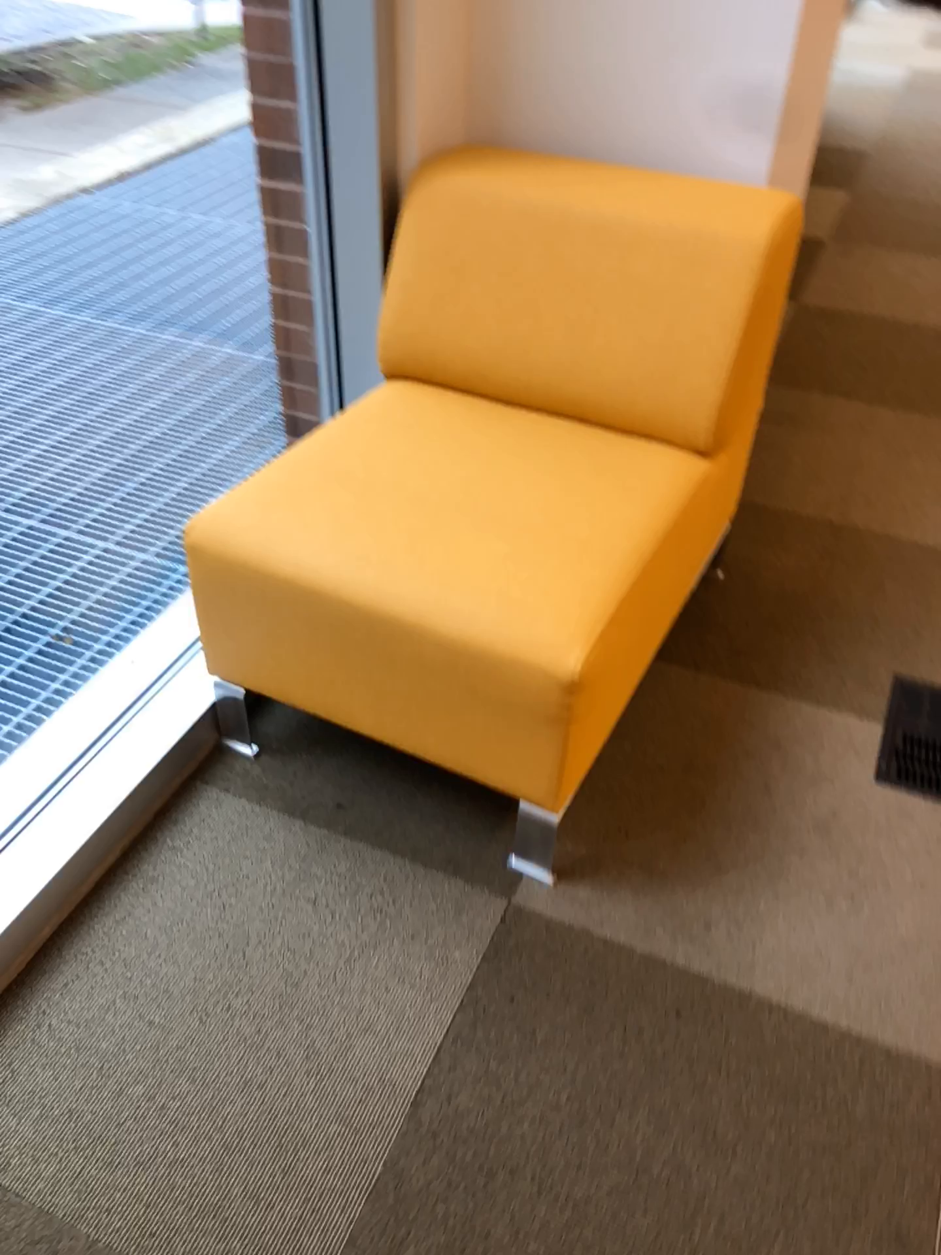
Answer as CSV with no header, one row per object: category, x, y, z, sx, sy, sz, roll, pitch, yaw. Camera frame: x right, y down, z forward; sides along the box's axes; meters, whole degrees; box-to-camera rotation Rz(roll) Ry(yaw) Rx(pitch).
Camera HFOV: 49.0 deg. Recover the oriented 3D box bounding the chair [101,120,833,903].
chair,0.055,-0.249,1.630,0.663,0.759,0.874,19,42,20
